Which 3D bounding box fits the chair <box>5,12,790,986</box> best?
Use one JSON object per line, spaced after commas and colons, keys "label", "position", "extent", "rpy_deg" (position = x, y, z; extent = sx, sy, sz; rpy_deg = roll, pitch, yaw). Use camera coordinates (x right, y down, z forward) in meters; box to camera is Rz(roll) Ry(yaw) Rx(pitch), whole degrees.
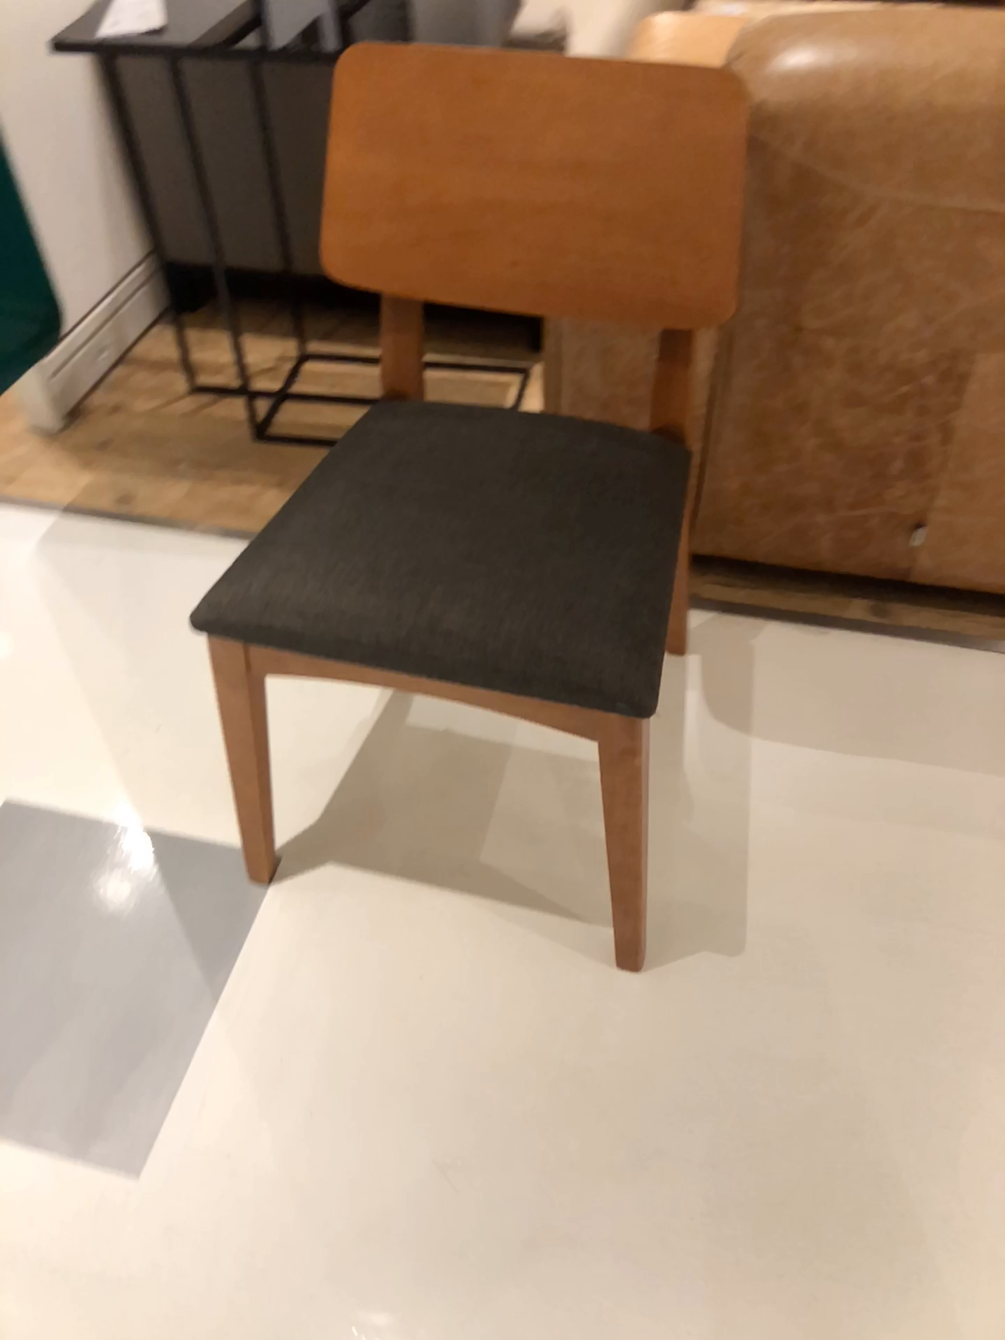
{"label": "chair", "position": [-0.021, -0.162, 1.181], "extent": [0.480, 0.794, 0.564], "rpy_deg": [10, 47, 12]}
